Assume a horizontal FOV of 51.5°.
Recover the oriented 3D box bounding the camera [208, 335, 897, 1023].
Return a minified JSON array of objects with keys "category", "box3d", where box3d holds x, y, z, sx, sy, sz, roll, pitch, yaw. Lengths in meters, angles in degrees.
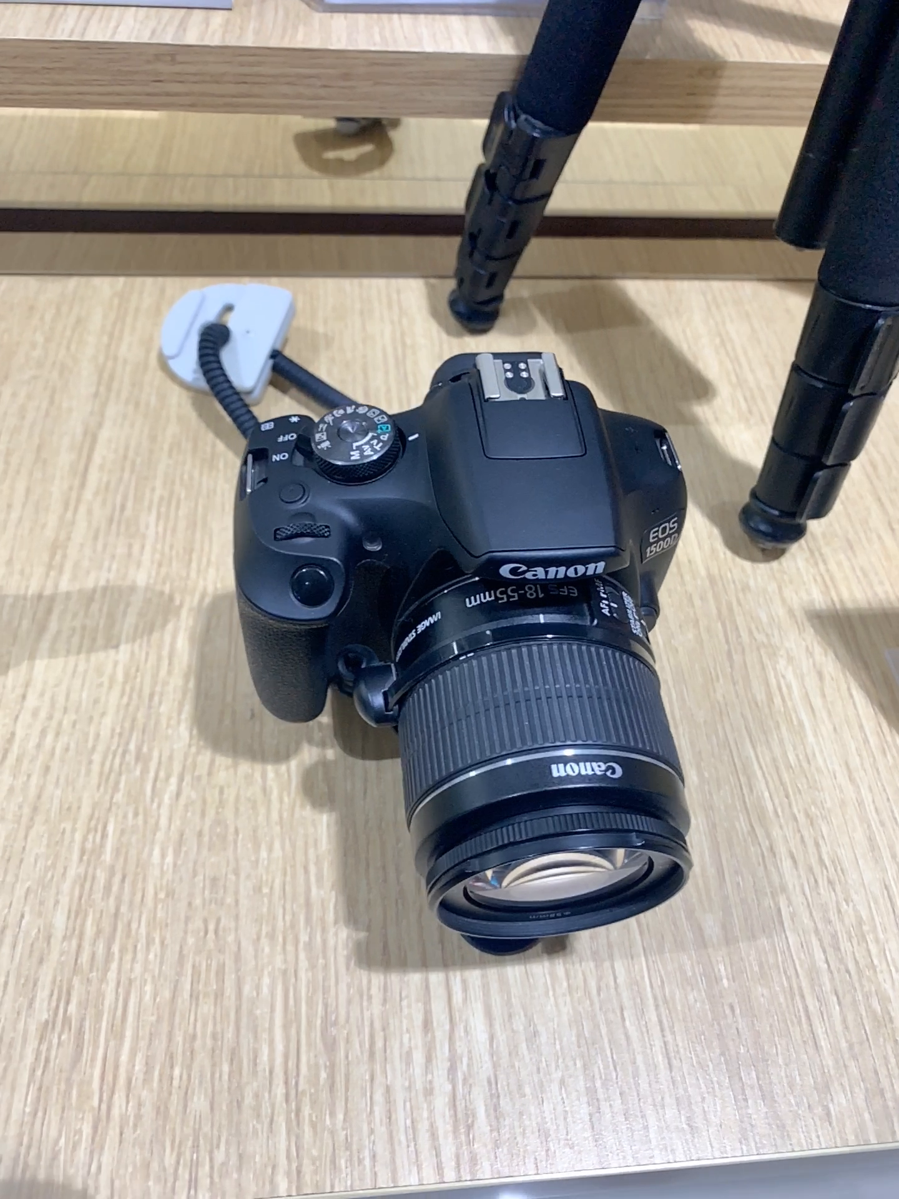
[{"category":"camera","box3d":[0.009,0.014,0.237,0.121,0.088,0.140,-4,52,-7]}]
